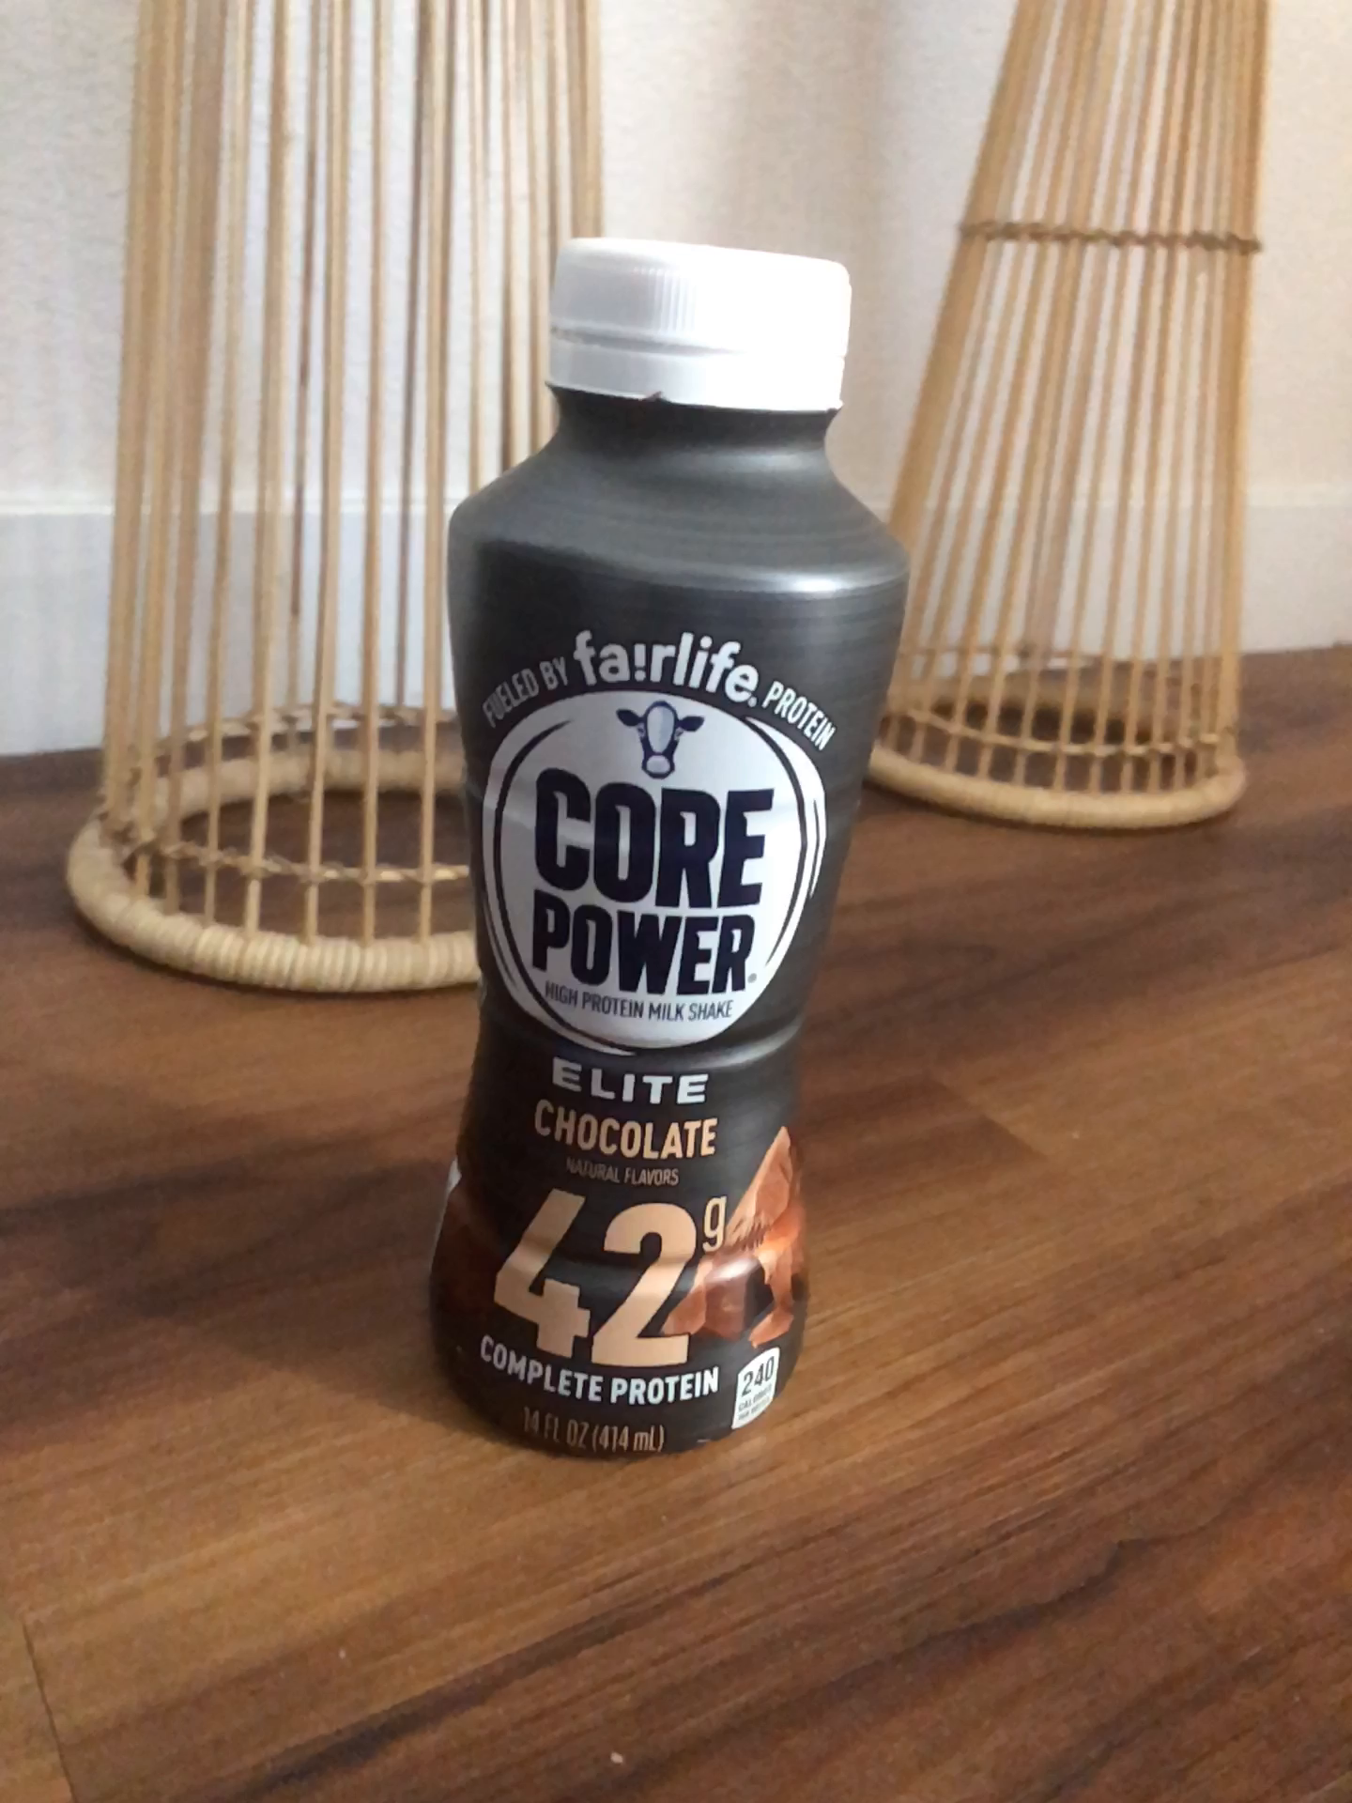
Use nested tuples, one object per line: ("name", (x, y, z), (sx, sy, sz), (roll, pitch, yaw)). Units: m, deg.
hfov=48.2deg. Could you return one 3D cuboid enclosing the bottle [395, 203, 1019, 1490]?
("bottle", (-0.001, -0.006, 0.242), (0.070, 0.184, 0.070), (4, 22, -2))
